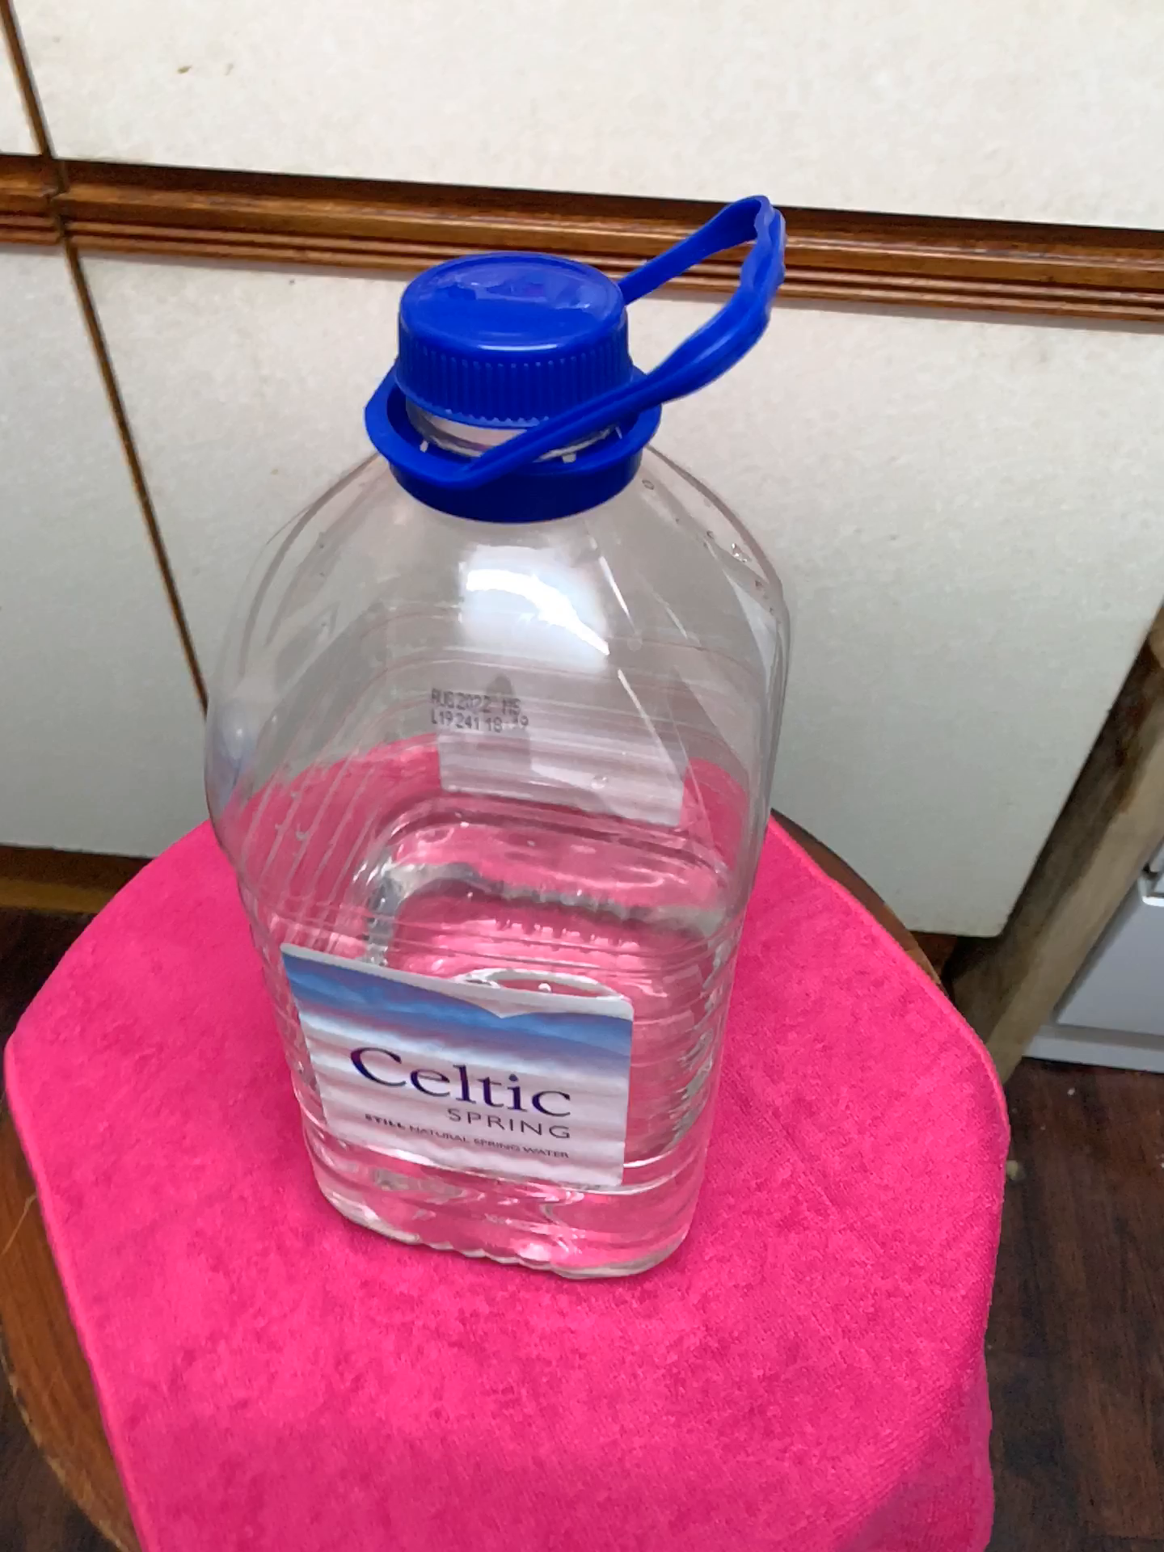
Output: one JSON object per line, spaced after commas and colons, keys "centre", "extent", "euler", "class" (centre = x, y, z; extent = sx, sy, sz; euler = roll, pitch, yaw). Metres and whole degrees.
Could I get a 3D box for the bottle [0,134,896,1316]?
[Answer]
{"centre": [-0.019, 0.017, 0.356], "extent": [0.150, 0.327, 0.141], "euler": [1, 48, -1], "class": "bottle"}
